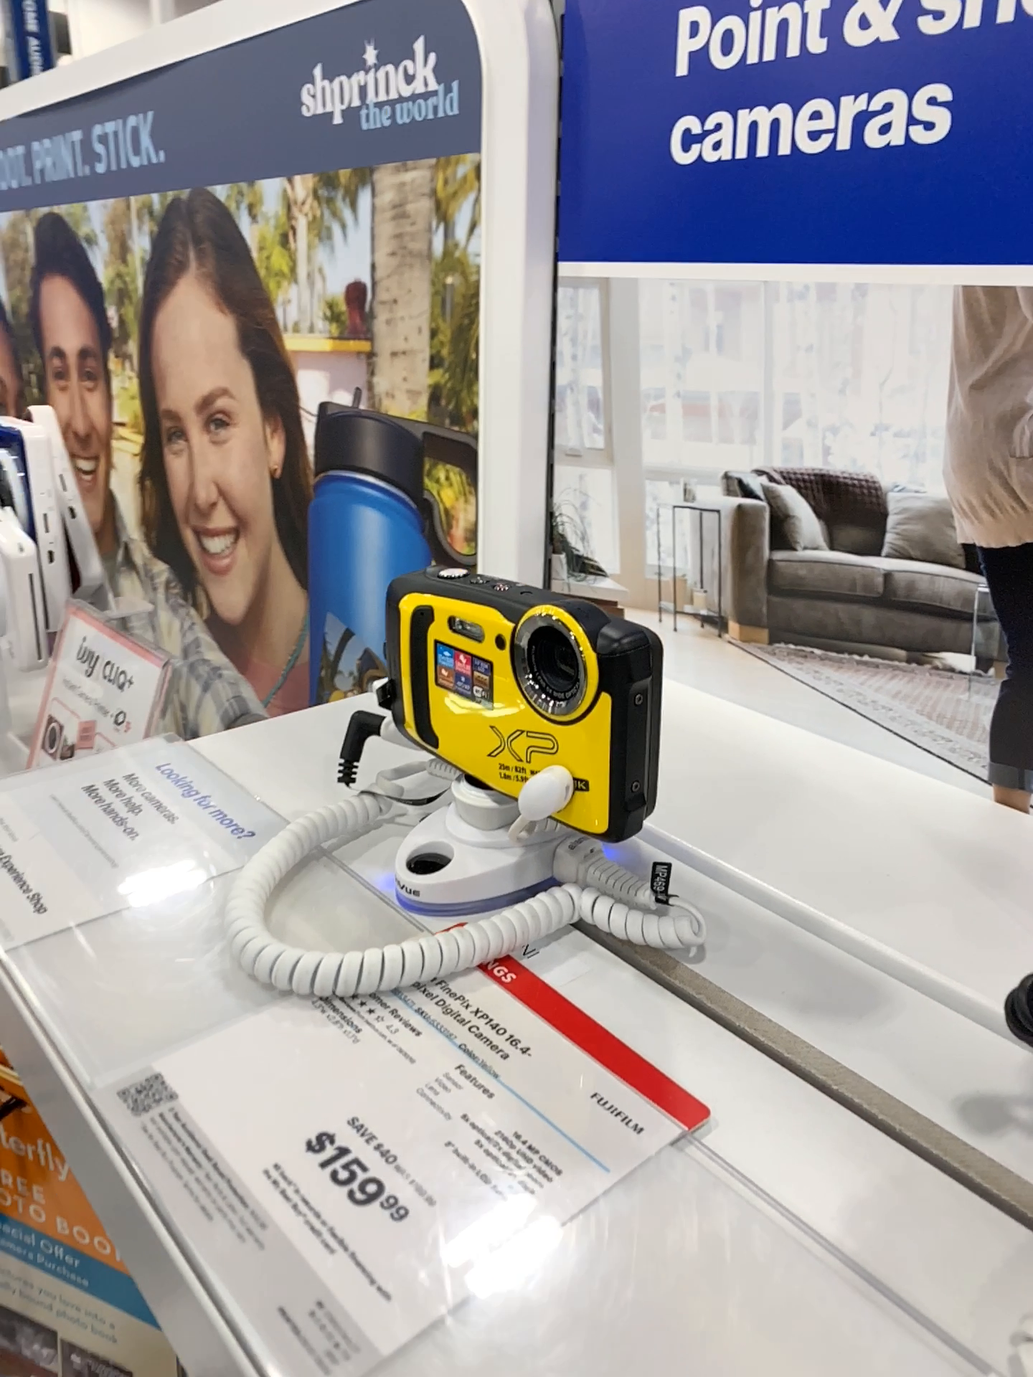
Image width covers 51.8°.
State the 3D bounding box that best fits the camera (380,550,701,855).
[{"bbox_3d":[0.002,-0.001,0.328,0.030,0.060,0.110,-16,26,-38],"label":"camera"}]
